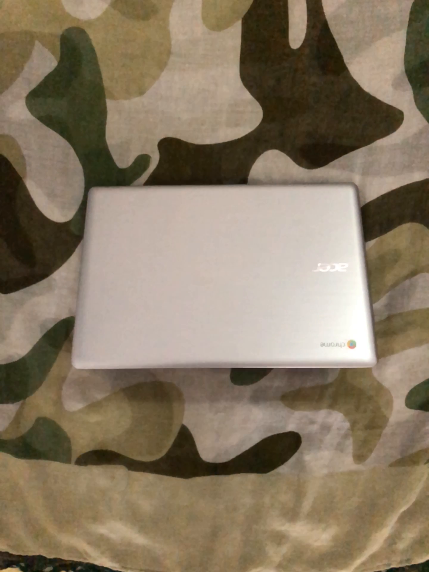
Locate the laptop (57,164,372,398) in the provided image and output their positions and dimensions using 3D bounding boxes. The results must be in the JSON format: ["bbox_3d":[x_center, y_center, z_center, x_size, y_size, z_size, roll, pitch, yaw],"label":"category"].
[{"bbox_3d":[-0.001,-0.011,0.541,0.311,0.125,0.232,-1,91,2],"label":"laptop"}]
